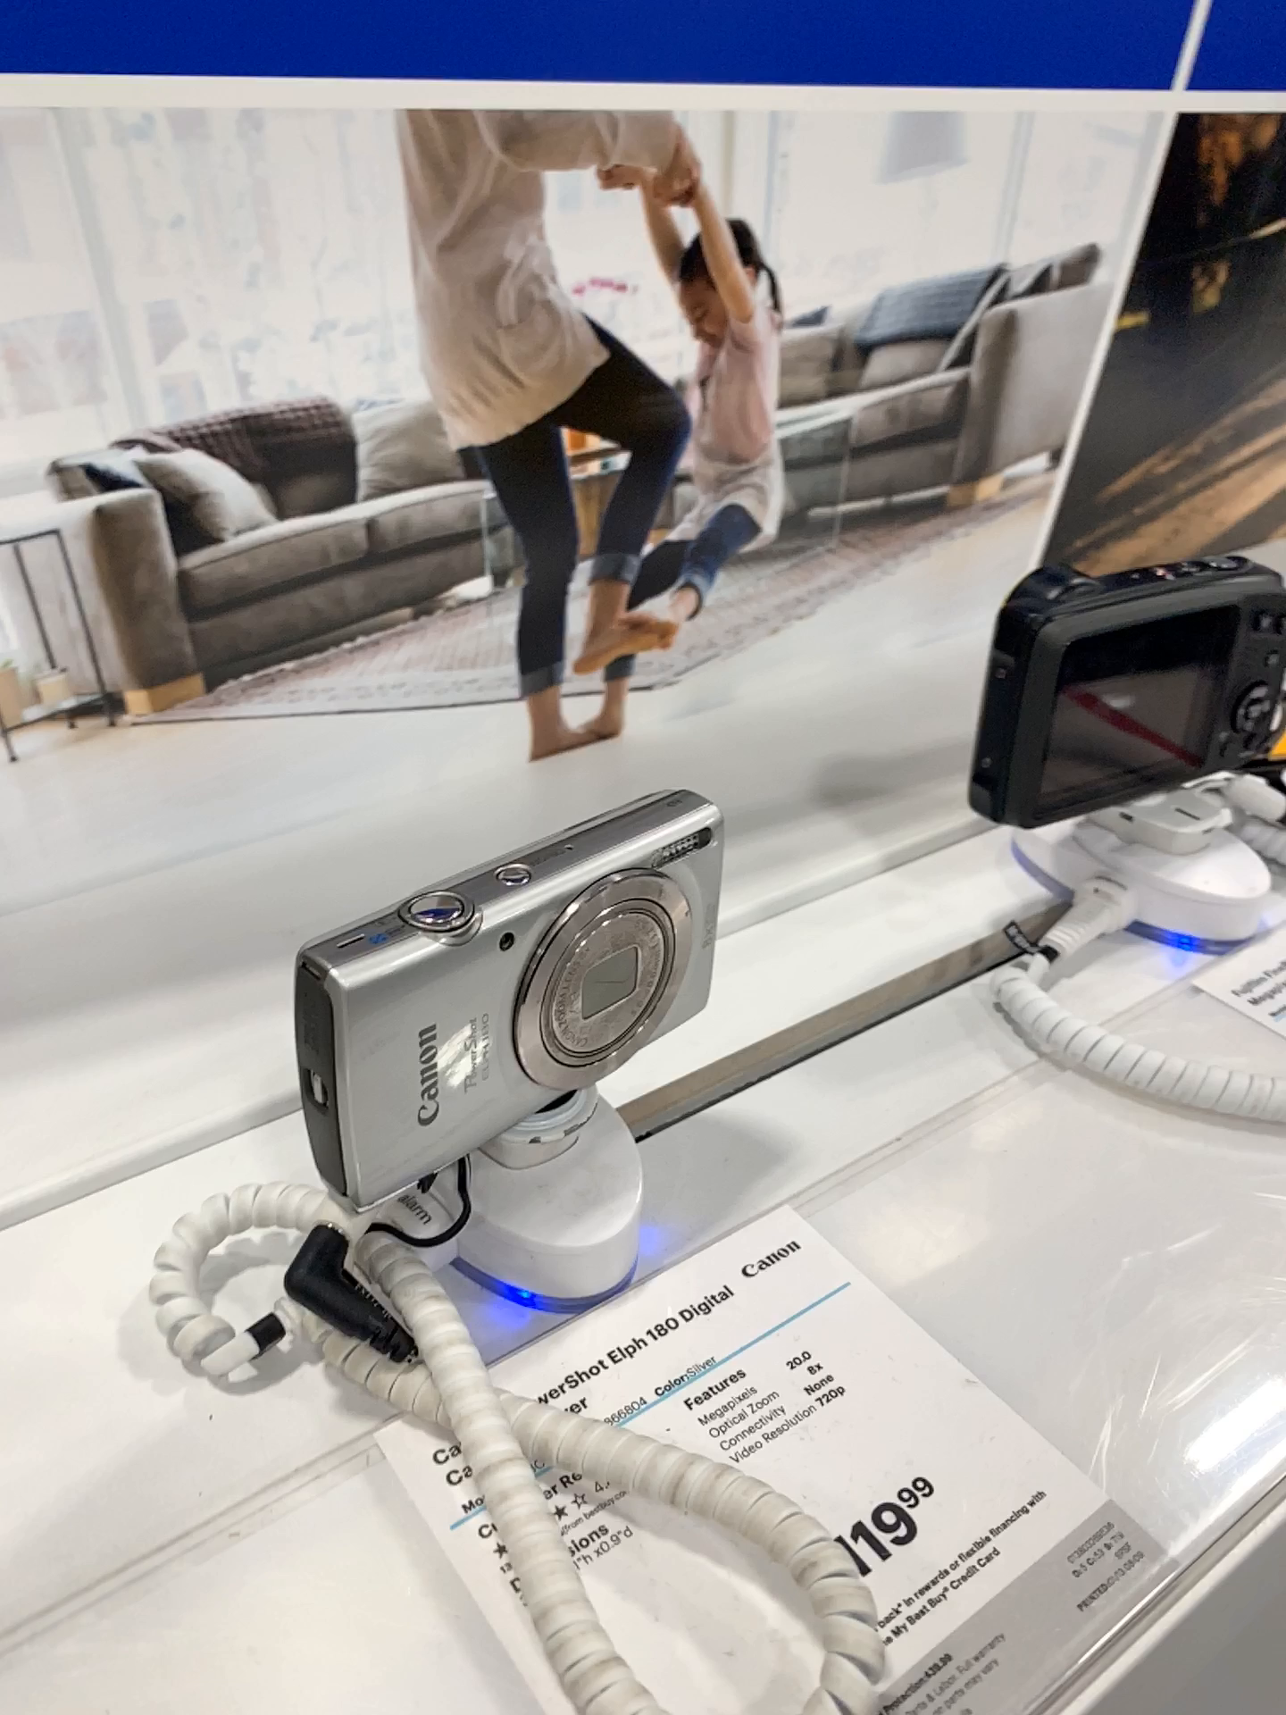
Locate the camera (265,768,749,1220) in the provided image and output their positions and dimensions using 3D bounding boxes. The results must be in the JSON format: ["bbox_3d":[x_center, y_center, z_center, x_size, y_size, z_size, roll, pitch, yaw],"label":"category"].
[{"bbox_3d":[-0.024,0.023,0.265,0.098,0.051,0.022,-25,45,-38],"label":"camera"}]
